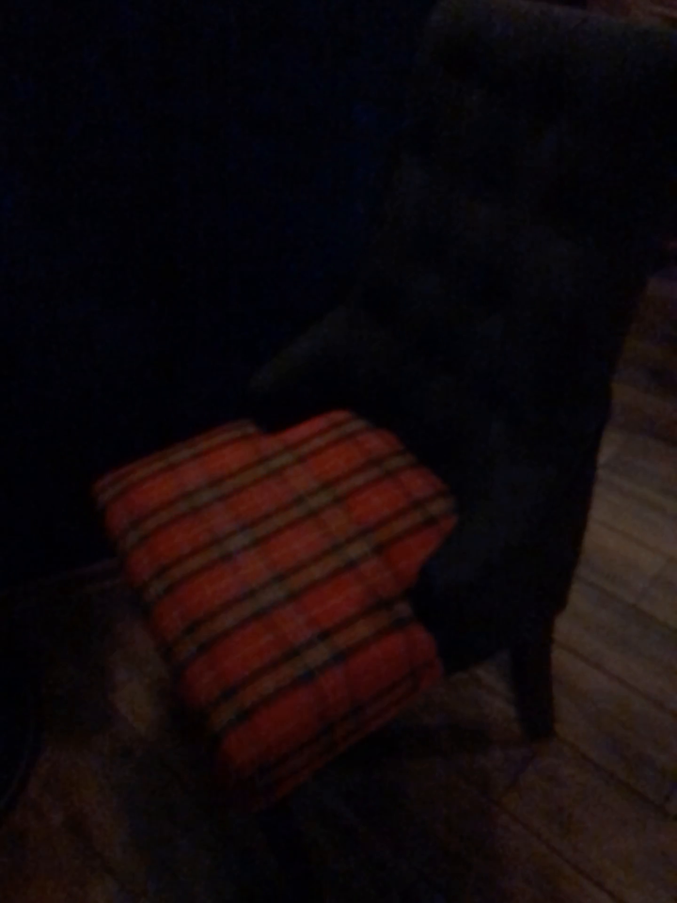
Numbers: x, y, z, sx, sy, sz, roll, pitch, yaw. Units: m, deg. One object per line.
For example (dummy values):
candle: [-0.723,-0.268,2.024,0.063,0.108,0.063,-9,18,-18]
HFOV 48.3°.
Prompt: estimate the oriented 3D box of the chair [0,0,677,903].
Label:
chair: [-0.012,0.024,0.998,0.611,1.003,0.523,-25,41,-19]
